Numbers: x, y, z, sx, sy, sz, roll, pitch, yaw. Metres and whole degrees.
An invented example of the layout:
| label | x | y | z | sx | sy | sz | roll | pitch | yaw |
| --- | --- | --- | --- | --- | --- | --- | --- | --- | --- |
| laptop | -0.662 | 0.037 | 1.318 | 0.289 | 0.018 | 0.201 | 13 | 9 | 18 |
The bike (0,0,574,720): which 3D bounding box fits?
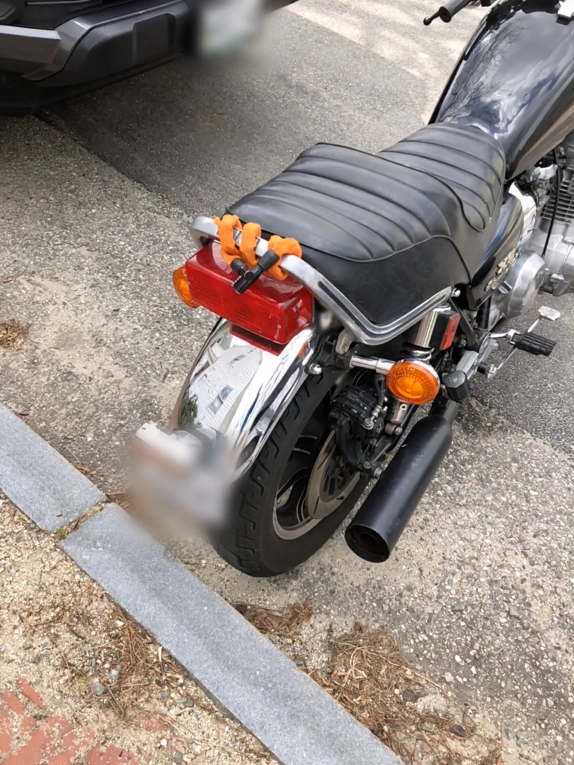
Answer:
| label | x | y | z | sx | sy | sz | roll | pitch | yaw |
| --- | --- | --- | --- | --- | --- | --- | --- | --- | --- |
| bike | 0.526 | -0.558 | 1.680 | 0.686 | 1.419 | 2.308 | 30 | 52 | 19 |
